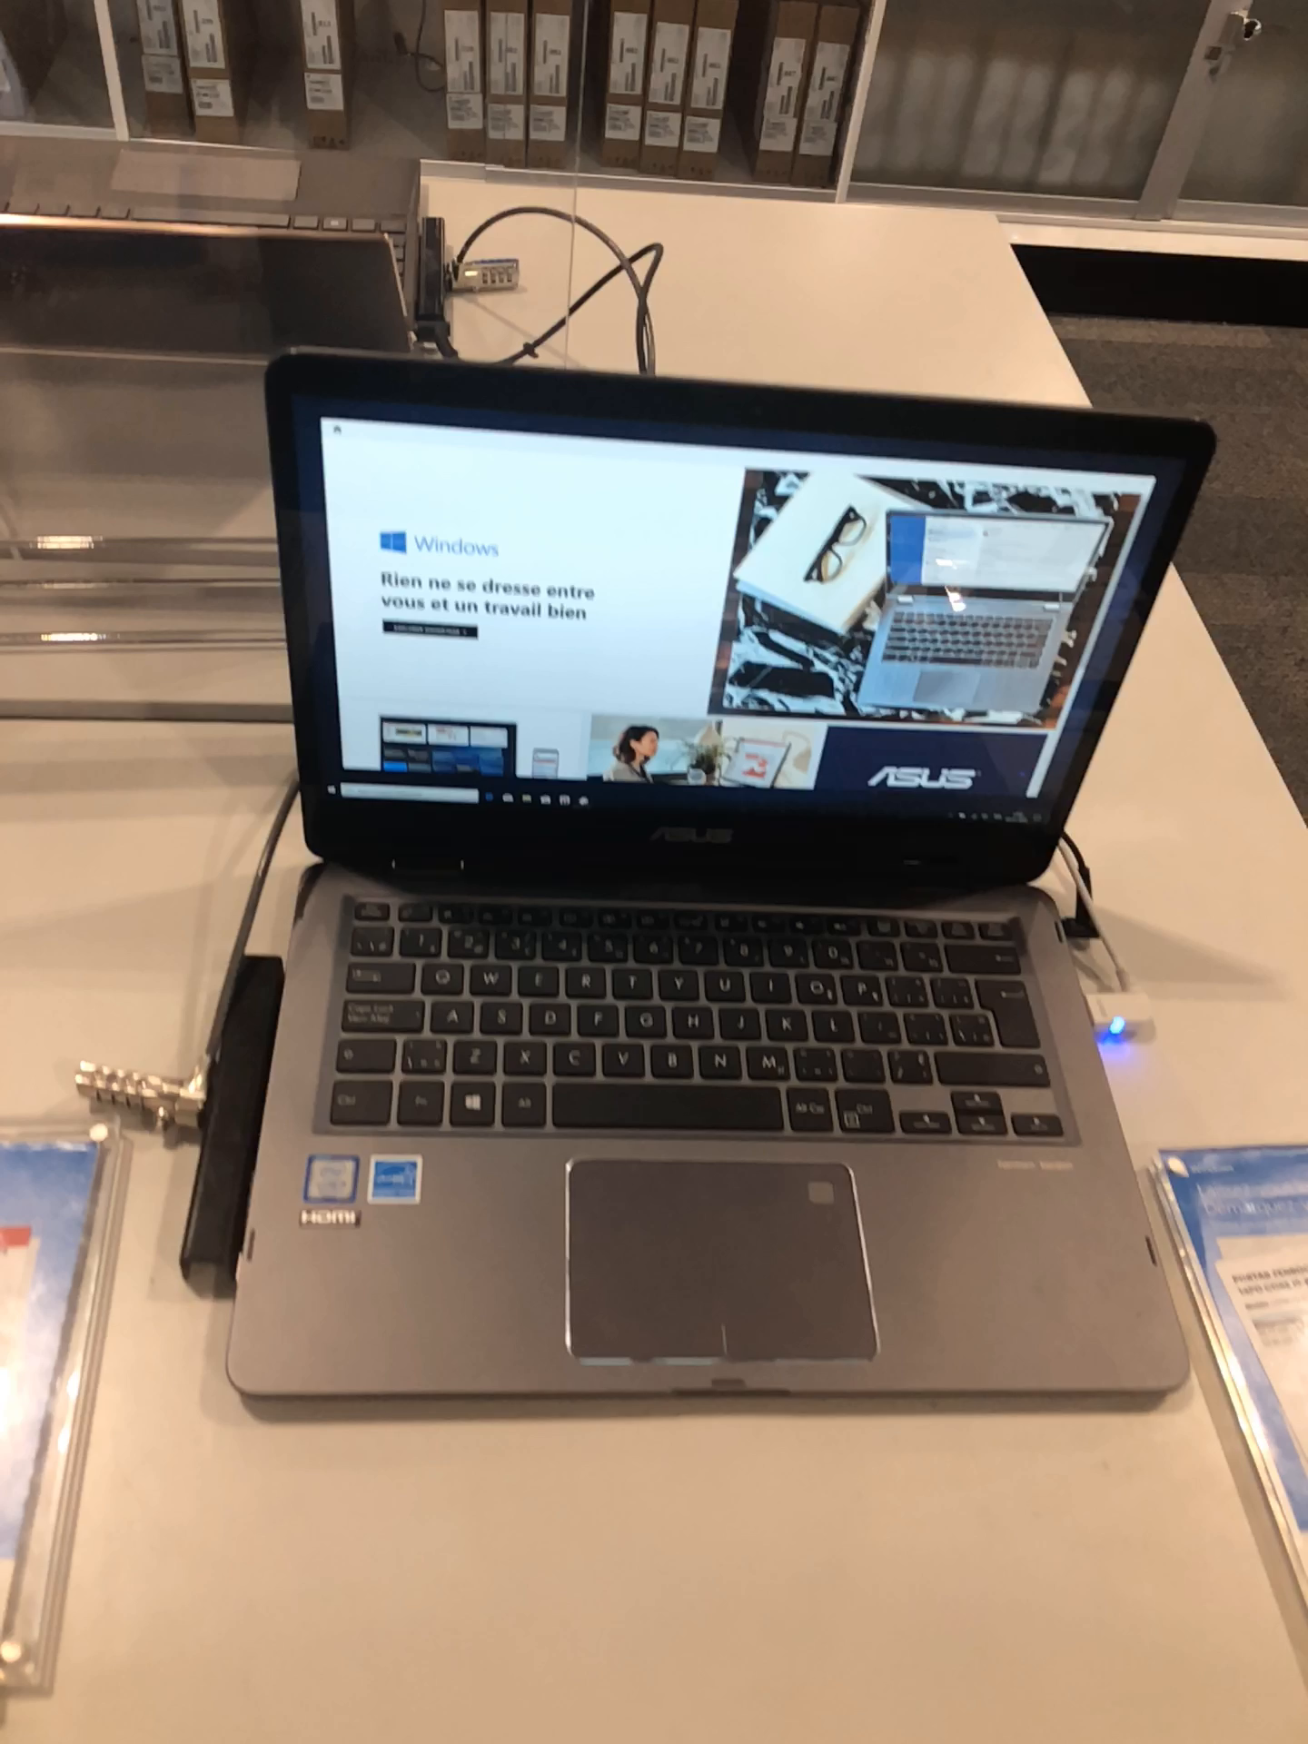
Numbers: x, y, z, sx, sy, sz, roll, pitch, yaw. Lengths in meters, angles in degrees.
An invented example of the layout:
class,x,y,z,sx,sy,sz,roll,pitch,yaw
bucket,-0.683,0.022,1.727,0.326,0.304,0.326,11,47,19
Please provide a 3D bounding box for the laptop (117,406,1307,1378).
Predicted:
class,x,y,z,sx,sy,sz,roll,pitch,yaw
laptop,0.027,0.011,0.458,0.302,0.217,0.225,2,47,-5
